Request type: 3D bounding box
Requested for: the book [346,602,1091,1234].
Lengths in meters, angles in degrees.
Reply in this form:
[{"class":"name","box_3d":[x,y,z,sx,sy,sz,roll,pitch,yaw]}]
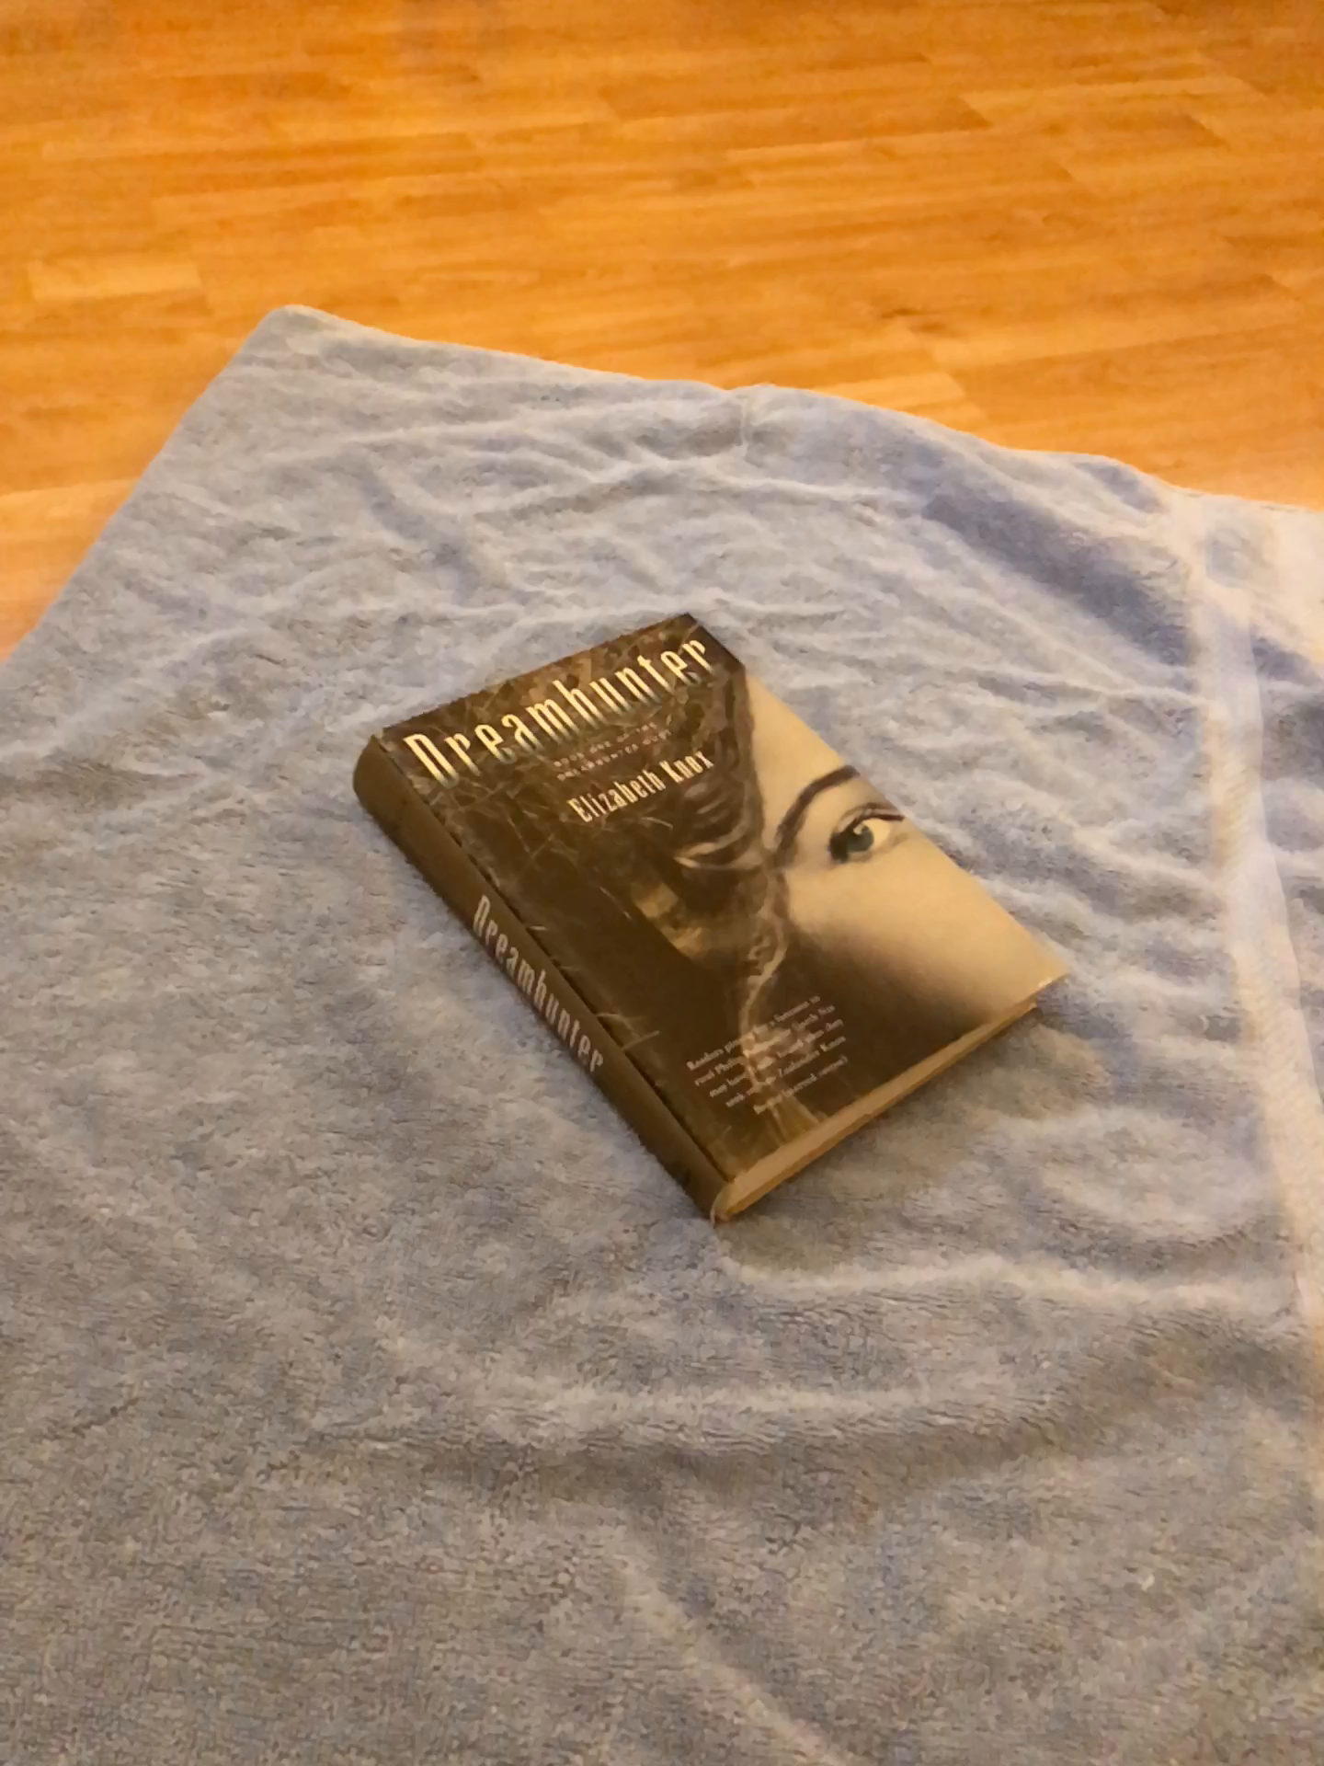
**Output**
[{"class":"book","box_3d":[0.014,-0.005,0.531,0.164,0.030,0.225,-26,55,-27]}]
